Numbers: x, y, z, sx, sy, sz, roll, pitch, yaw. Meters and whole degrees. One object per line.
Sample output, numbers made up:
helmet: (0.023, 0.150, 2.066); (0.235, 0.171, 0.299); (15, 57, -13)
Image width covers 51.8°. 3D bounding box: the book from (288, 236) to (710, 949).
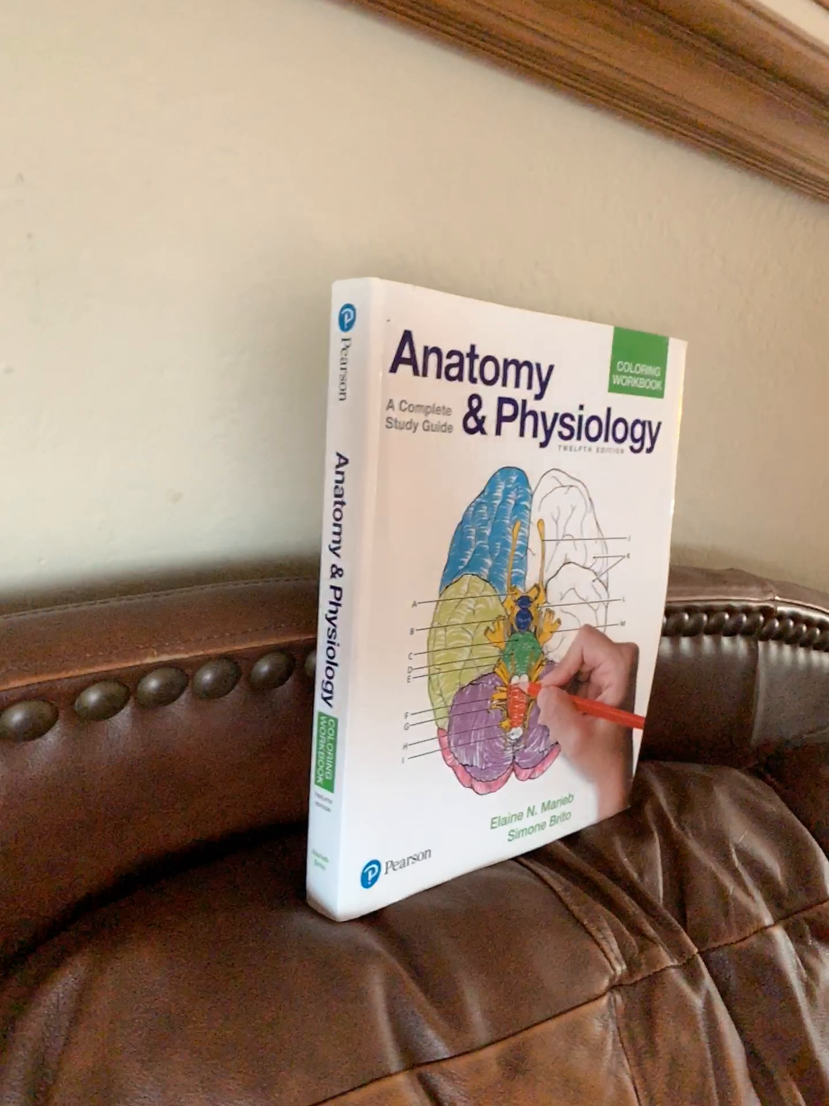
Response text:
book: (0.049, 0.013, 0.434); (0.221, 0.290, 0.060); (-5, 11, -39)
